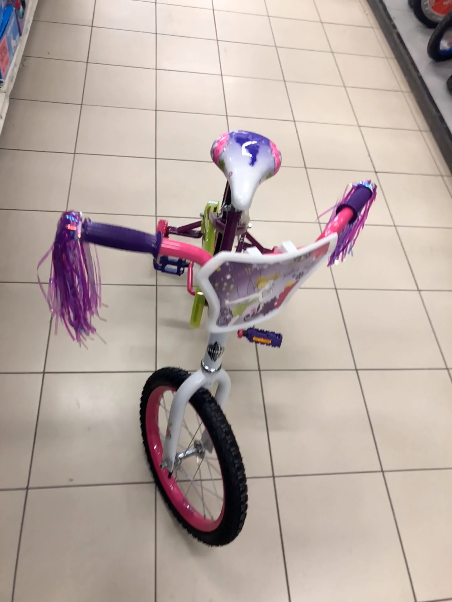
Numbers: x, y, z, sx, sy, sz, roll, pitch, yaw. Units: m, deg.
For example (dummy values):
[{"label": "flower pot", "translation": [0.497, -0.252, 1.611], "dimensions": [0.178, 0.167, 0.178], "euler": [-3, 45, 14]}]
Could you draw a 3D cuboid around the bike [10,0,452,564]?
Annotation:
[{"label": "bike", "translation": [0.049, -0.084, 1.113], "dimensions": [0.595, 0.810, 1.071], "euler": [6, 55, -6]}]
